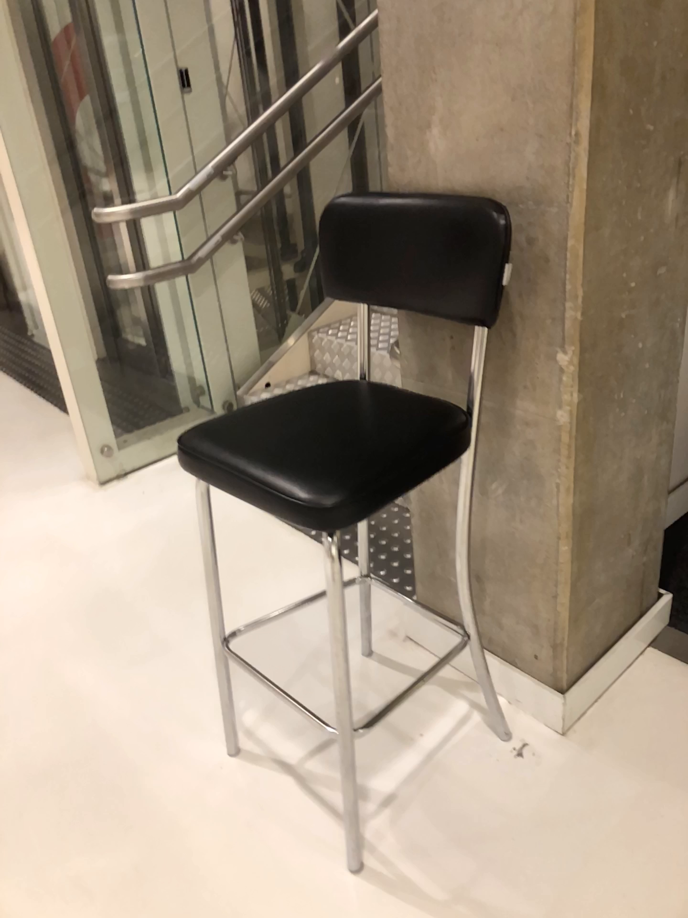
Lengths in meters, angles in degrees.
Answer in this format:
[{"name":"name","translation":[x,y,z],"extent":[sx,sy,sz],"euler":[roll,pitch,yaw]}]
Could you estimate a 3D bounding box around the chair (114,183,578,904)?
[{"name":"chair","translation":[0.042,0.108,1.234],"extent":[0.441,0.983,0.452],"euler":[-26,33,-34]}]
